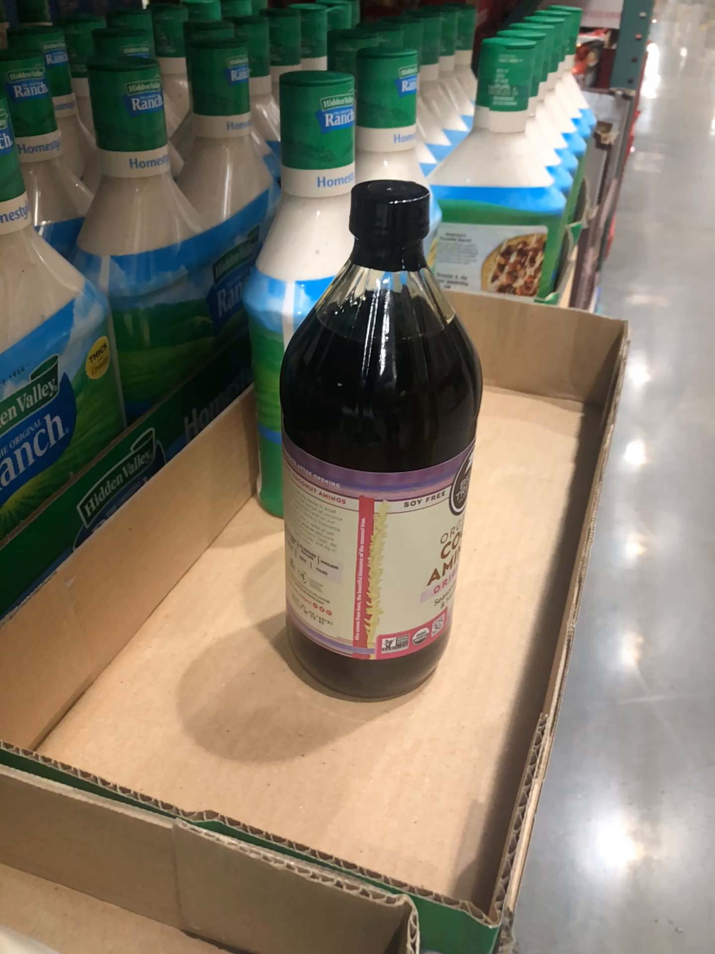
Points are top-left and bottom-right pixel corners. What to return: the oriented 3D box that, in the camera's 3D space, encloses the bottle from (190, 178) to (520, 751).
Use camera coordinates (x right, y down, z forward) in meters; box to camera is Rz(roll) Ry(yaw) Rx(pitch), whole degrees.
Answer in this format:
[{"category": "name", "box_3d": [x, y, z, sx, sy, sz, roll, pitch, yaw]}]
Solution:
[{"category": "bottle", "box_3d": [0.001, -0.002, 0.365, 0.090, 0.229, 0.100, 17, 37, 22]}]
